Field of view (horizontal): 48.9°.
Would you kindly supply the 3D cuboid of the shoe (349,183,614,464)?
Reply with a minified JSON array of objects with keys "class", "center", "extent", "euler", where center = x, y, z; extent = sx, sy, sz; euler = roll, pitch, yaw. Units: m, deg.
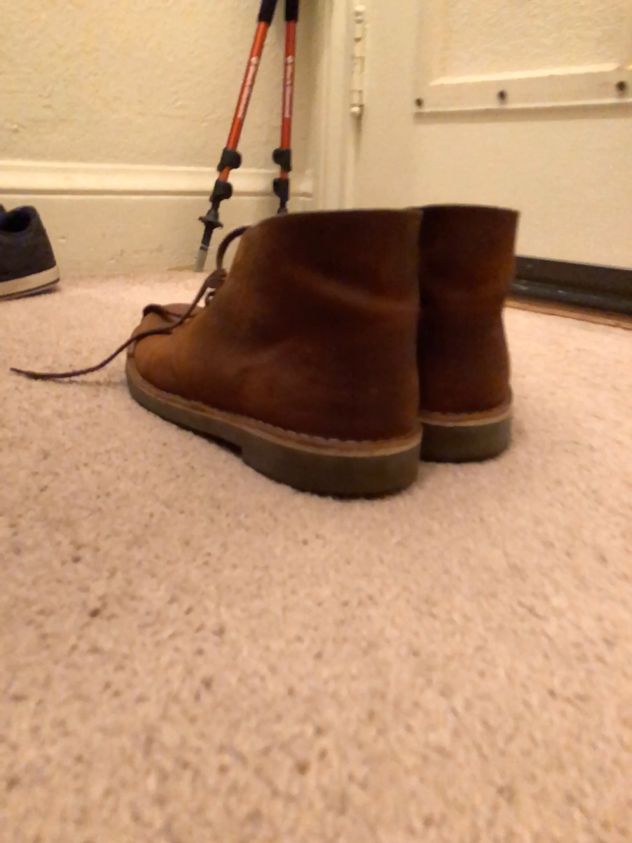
[{"class":"shoe","center":[0.090,-0.096,0.510],"extent":[0.110,0.138,0.304],"euler":[2,20,-1]}]

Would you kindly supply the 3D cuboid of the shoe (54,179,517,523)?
[{"class":"shoe","center":[-0.044,-0.073,0.437],"extent":[0.110,0.138,0.304],"euler":[-15,26,-39]}]
